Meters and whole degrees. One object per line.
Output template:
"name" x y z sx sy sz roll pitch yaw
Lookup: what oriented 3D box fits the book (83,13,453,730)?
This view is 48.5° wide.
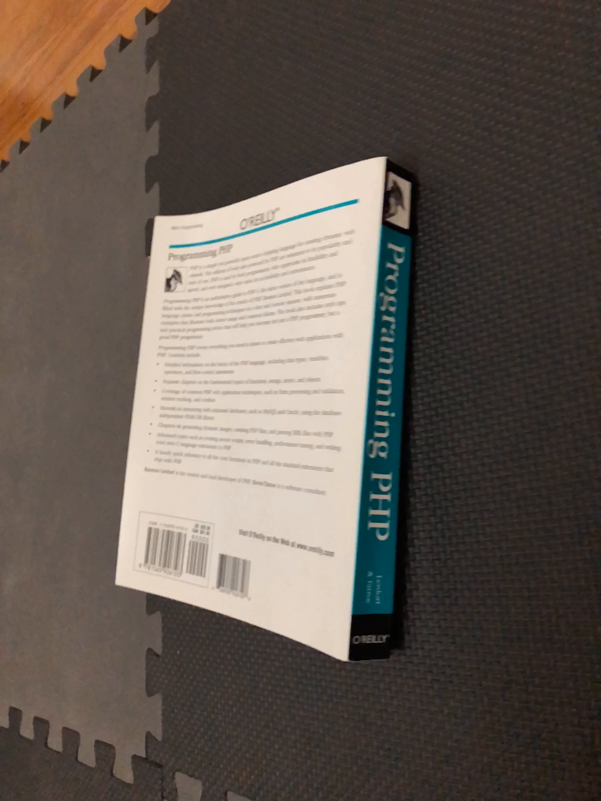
"book" -0.035 -0.015 0.365 0.231 0.040 0.290 0 84 46
